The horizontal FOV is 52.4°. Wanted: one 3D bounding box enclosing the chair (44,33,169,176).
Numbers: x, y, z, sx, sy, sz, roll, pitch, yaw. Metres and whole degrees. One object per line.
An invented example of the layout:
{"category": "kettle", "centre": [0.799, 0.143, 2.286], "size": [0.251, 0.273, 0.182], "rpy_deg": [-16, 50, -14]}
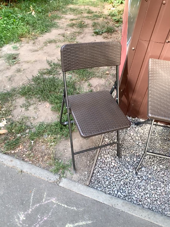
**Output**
{"category": "chair", "centre": [0.058, -0.045, 1.102], "size": [0.470, 0.687, 0.472], "rpy_deg": [-13, 48, -15]}
